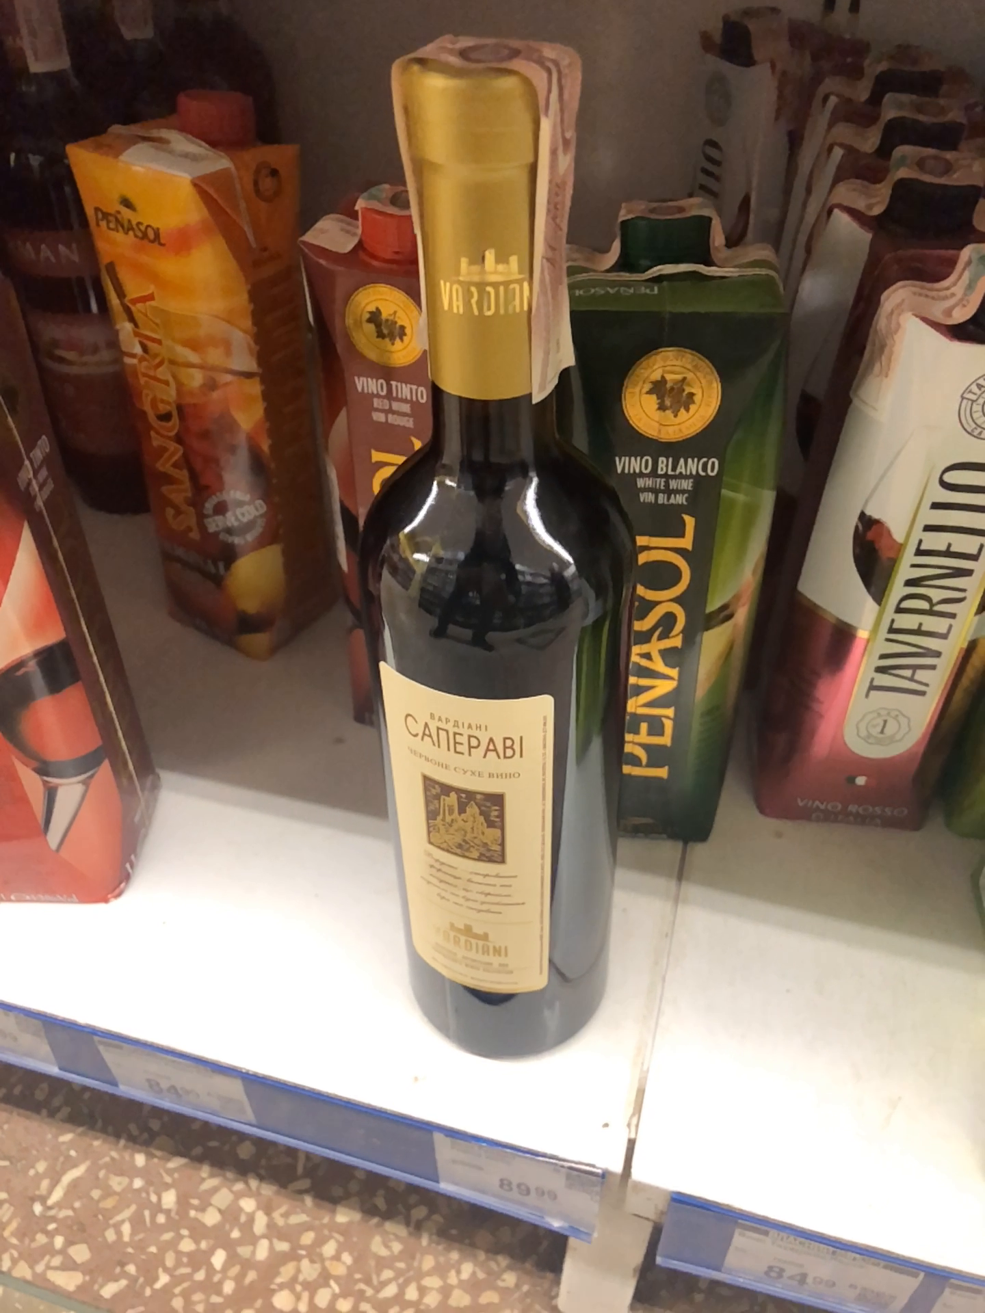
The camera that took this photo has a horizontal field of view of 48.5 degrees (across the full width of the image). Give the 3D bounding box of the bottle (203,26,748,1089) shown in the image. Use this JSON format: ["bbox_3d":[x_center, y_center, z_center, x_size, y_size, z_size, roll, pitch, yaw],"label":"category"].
[{"bbox_3d":[0.000,0.002,0.290,0.080,0.281,0.070,12,43,13],"label":"bottle"}]
